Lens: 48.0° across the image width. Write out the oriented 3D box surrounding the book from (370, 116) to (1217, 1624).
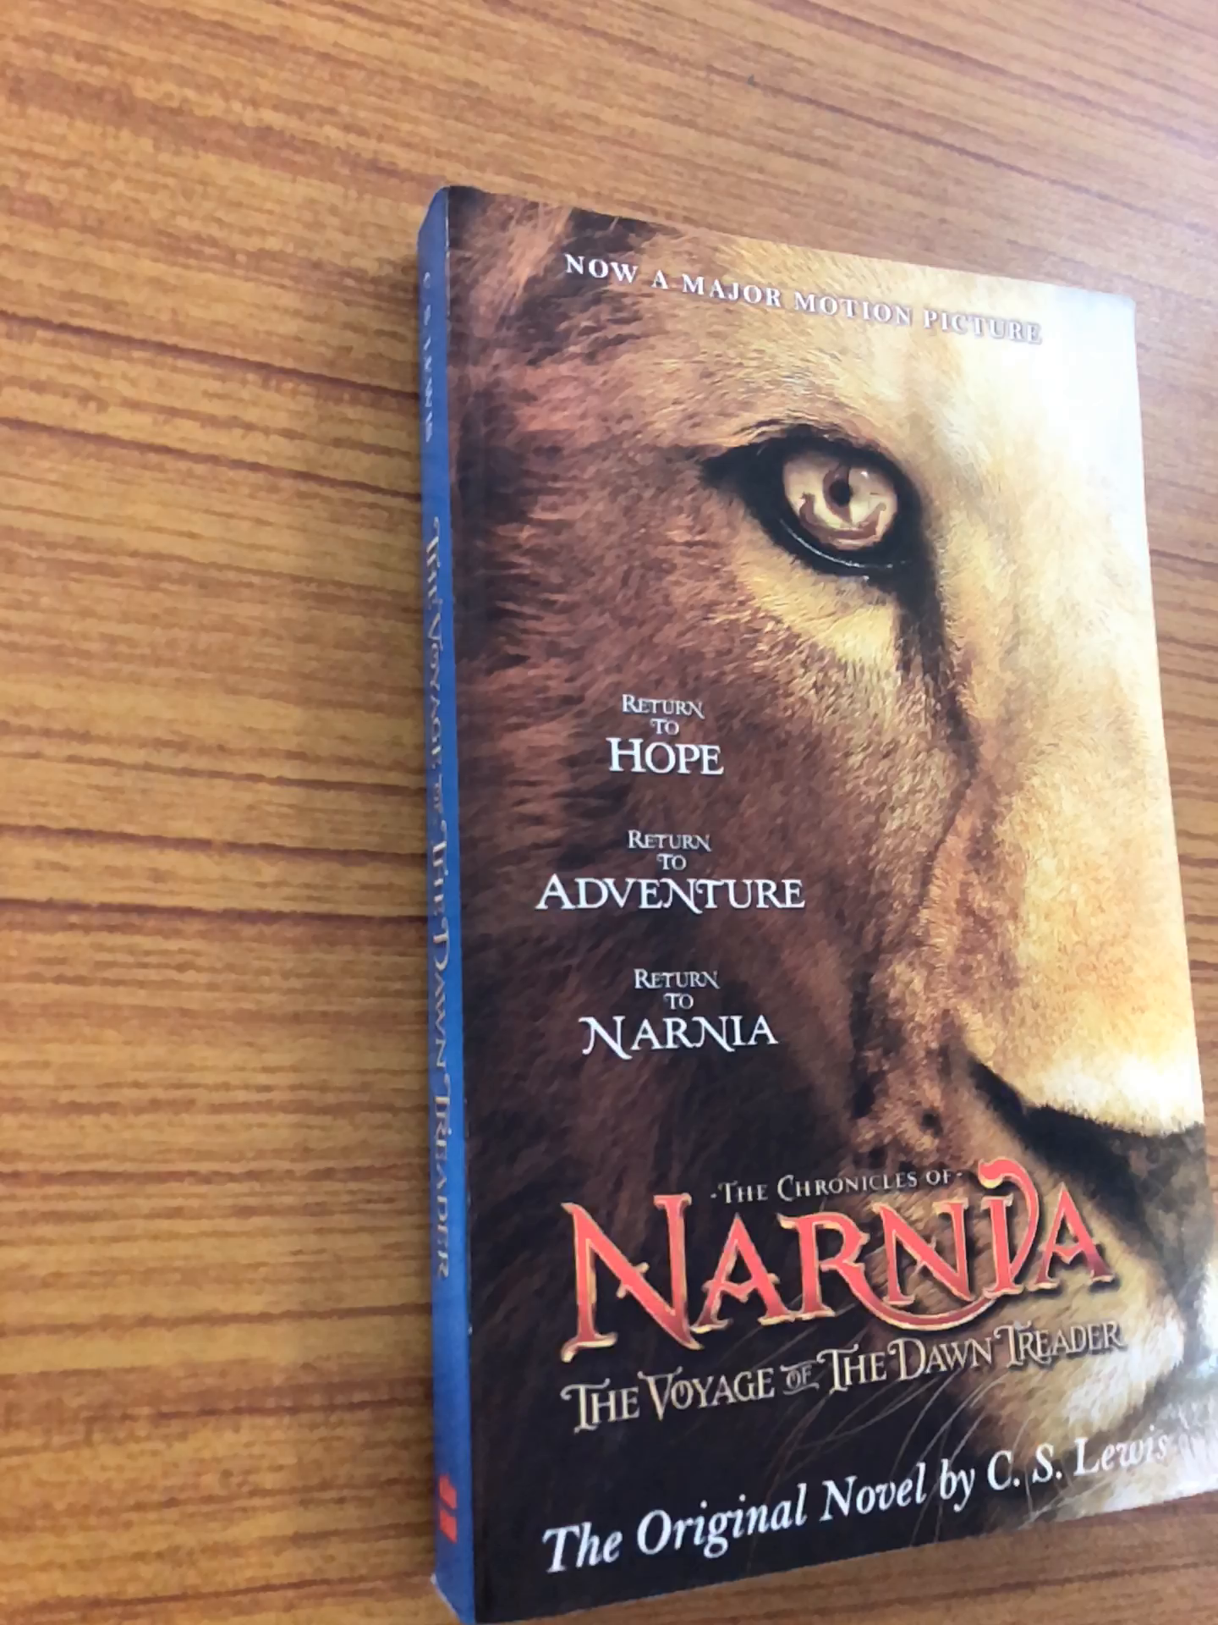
[{"bbox_3d":[0.030,0.006,0.192,0.120,0.030,0.180,2,80,-22],"label":"book"}]
